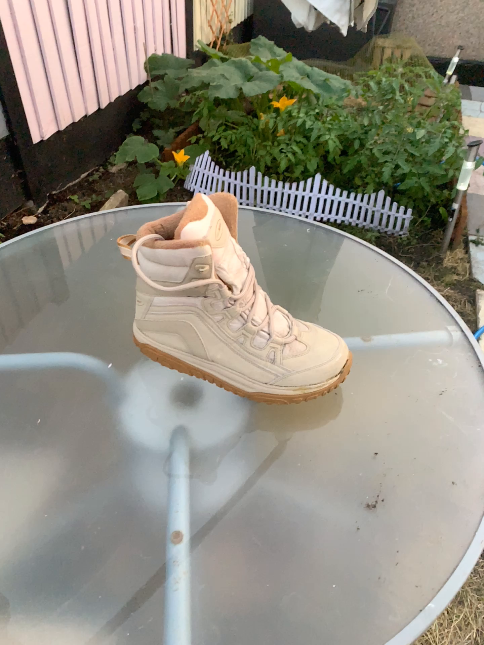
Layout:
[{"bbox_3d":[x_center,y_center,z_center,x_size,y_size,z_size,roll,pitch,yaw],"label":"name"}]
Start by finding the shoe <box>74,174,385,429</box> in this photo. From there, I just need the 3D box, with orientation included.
[{"bbox_3d":[-0.010,-0.026,0.545,0.280,0.198,0.121,12,41,12],"label":"shoe"}]
